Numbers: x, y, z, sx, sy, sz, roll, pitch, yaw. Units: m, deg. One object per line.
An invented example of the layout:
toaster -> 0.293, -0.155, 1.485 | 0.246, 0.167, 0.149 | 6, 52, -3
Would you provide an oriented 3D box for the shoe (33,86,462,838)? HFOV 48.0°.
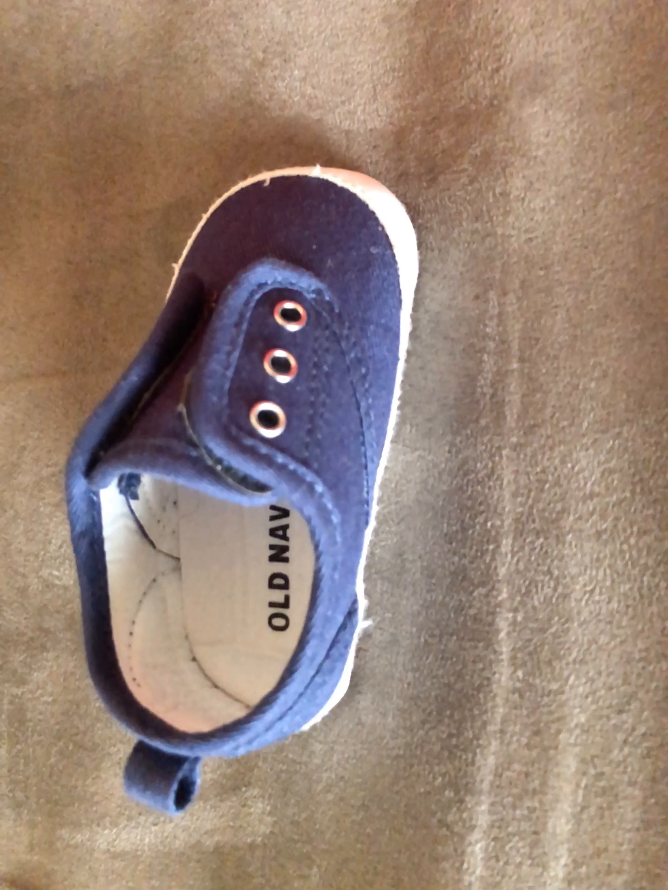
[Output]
shoe -> -0.014, 0.002, 0.150 | 0.060, 0.060, 0.110 | 3, 94, 27
